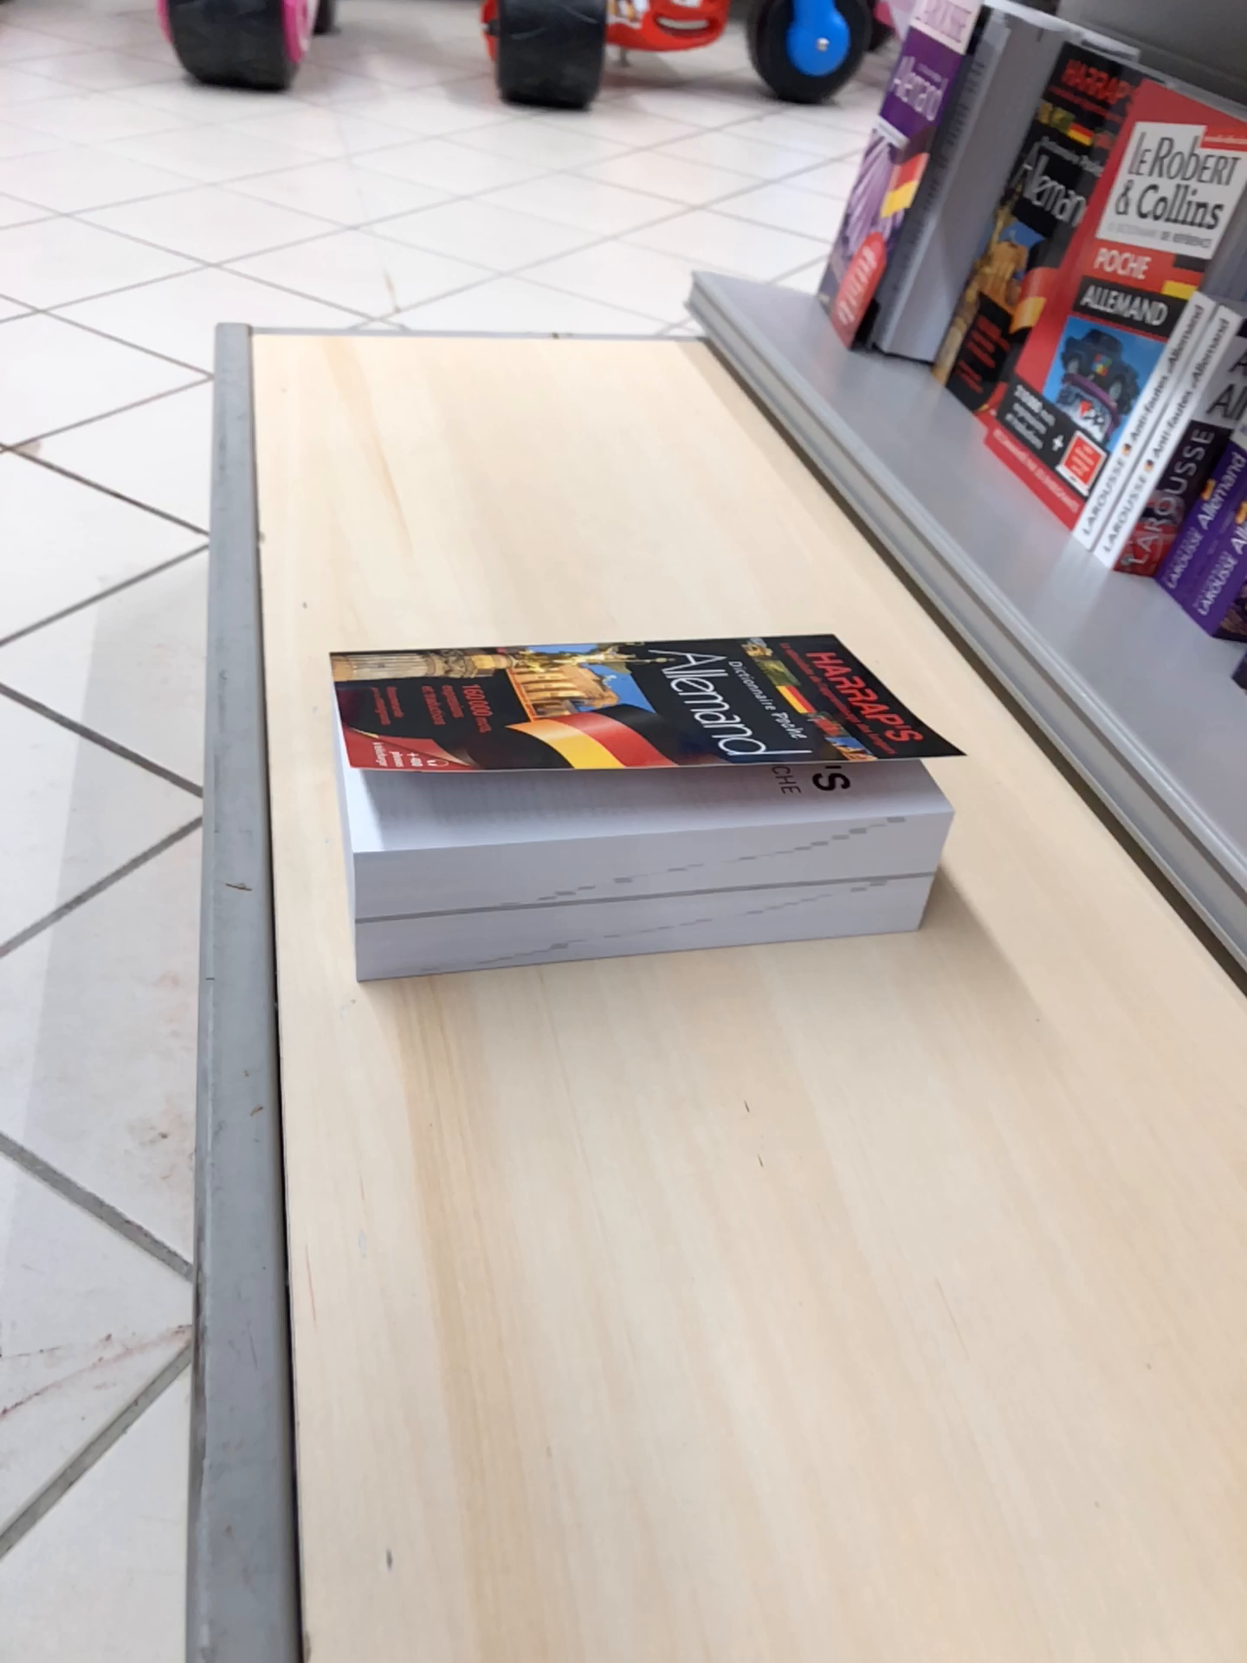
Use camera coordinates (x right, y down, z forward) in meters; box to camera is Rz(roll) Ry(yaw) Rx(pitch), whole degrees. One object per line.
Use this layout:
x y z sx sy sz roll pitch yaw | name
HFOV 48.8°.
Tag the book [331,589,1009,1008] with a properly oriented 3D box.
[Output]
0.005 -0.018 0.432 0.180 0.060 0.123 -4 39 -14 | book
